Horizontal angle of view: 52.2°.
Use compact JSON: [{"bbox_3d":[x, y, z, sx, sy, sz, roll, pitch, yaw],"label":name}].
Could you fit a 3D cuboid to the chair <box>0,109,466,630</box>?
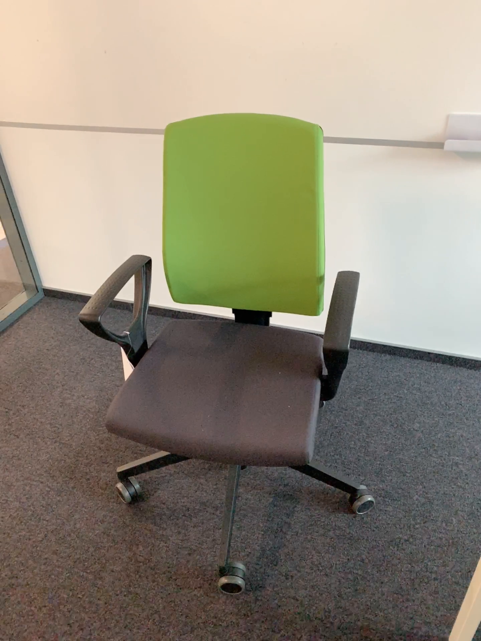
[{"bbox_3d":[0.002,0.070,1.225,0.760,0.965,0.734,6,36,12],"label":"chair"}]
